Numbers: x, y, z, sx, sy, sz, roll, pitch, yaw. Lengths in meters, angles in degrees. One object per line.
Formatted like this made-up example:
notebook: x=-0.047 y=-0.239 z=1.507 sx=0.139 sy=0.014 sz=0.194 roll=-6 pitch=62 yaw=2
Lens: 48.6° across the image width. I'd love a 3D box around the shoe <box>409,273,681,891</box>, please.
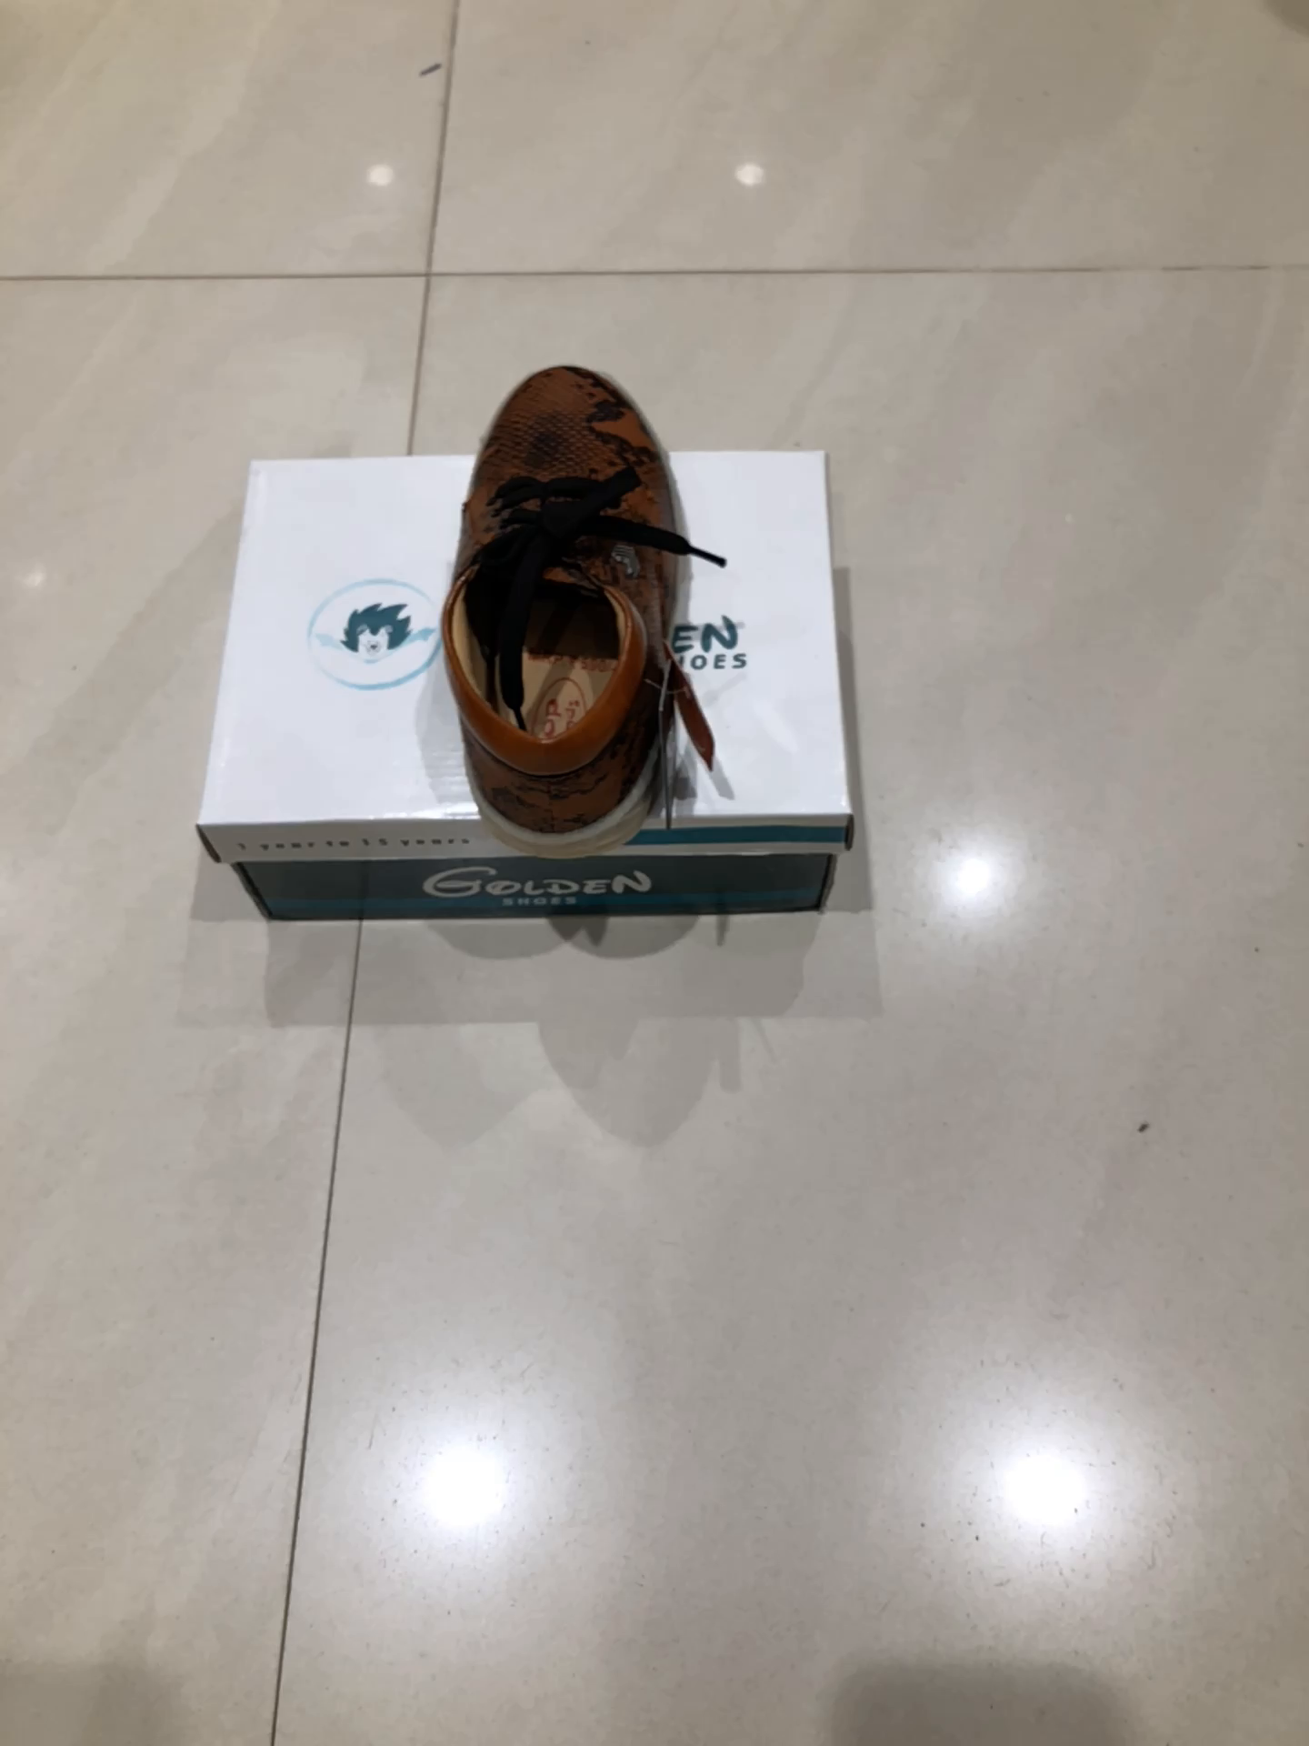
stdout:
shoe: x=-0.031 y=-0.104 z=0.512 sx=0.080 sy=0.090 sz=0.201 roll=0 pitch=64 yaw=1
